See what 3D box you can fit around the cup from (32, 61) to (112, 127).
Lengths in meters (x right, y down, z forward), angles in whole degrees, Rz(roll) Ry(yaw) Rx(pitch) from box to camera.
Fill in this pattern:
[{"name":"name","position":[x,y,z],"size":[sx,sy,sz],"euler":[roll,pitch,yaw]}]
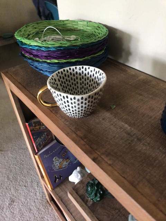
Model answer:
[{"name":"cup","position":[-0.019,-0.036,0.358],"size":[0.130,0.079,0.101],"euler":[-3,41,0]}]
